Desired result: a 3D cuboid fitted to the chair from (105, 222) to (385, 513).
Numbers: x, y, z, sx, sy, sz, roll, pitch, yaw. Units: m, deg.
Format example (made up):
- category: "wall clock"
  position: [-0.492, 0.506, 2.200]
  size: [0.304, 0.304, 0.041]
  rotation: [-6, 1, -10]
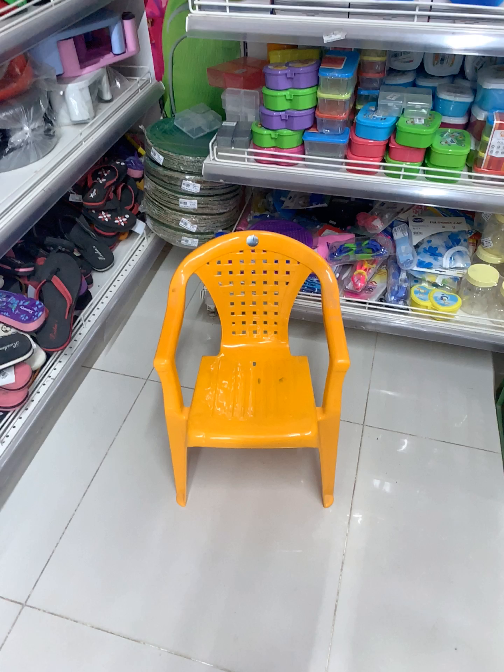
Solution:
- category: "chair"
  position: [0.002, 0.072, 1.023]
  size: [0.400, 0.458, 0.361]
  rotation: [0, 45, 3]
